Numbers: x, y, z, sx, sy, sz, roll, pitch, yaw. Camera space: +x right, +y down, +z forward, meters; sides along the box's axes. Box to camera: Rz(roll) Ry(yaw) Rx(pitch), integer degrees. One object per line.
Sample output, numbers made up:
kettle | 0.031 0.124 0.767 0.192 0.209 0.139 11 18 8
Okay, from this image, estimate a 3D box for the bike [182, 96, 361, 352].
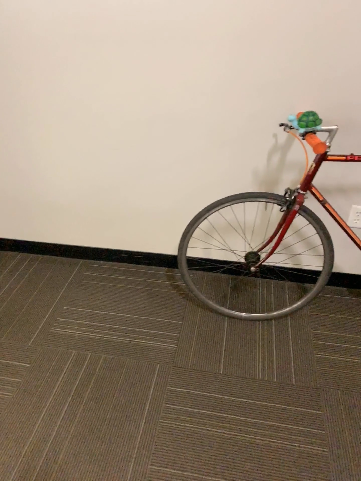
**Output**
bike | 0.823 -0.055 1.543 1.626 0.909 0.451 2 36 3
